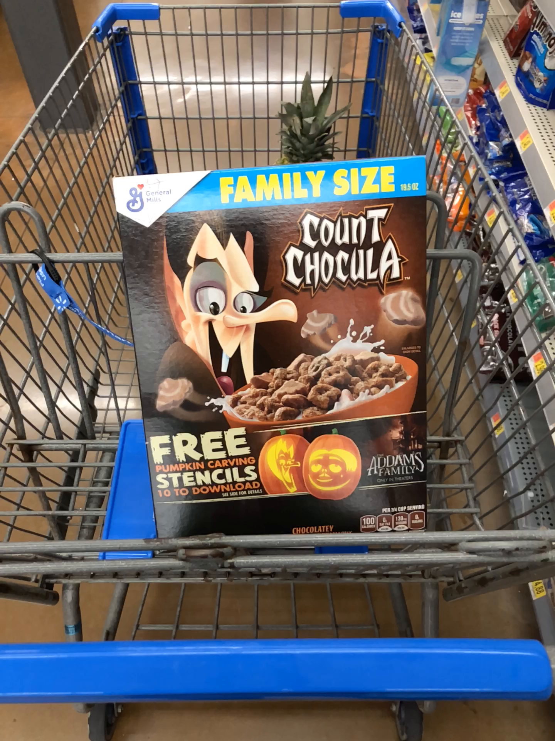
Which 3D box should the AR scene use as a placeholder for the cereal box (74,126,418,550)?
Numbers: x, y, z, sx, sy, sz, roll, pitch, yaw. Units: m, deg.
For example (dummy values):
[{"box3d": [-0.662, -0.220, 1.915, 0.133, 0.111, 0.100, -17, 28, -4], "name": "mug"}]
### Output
[{"box3d": [-0.015, -0.025, 0.540, 0.250, 0.330, 0.080, -6, 15, -4], "name": "cereal box"}]
